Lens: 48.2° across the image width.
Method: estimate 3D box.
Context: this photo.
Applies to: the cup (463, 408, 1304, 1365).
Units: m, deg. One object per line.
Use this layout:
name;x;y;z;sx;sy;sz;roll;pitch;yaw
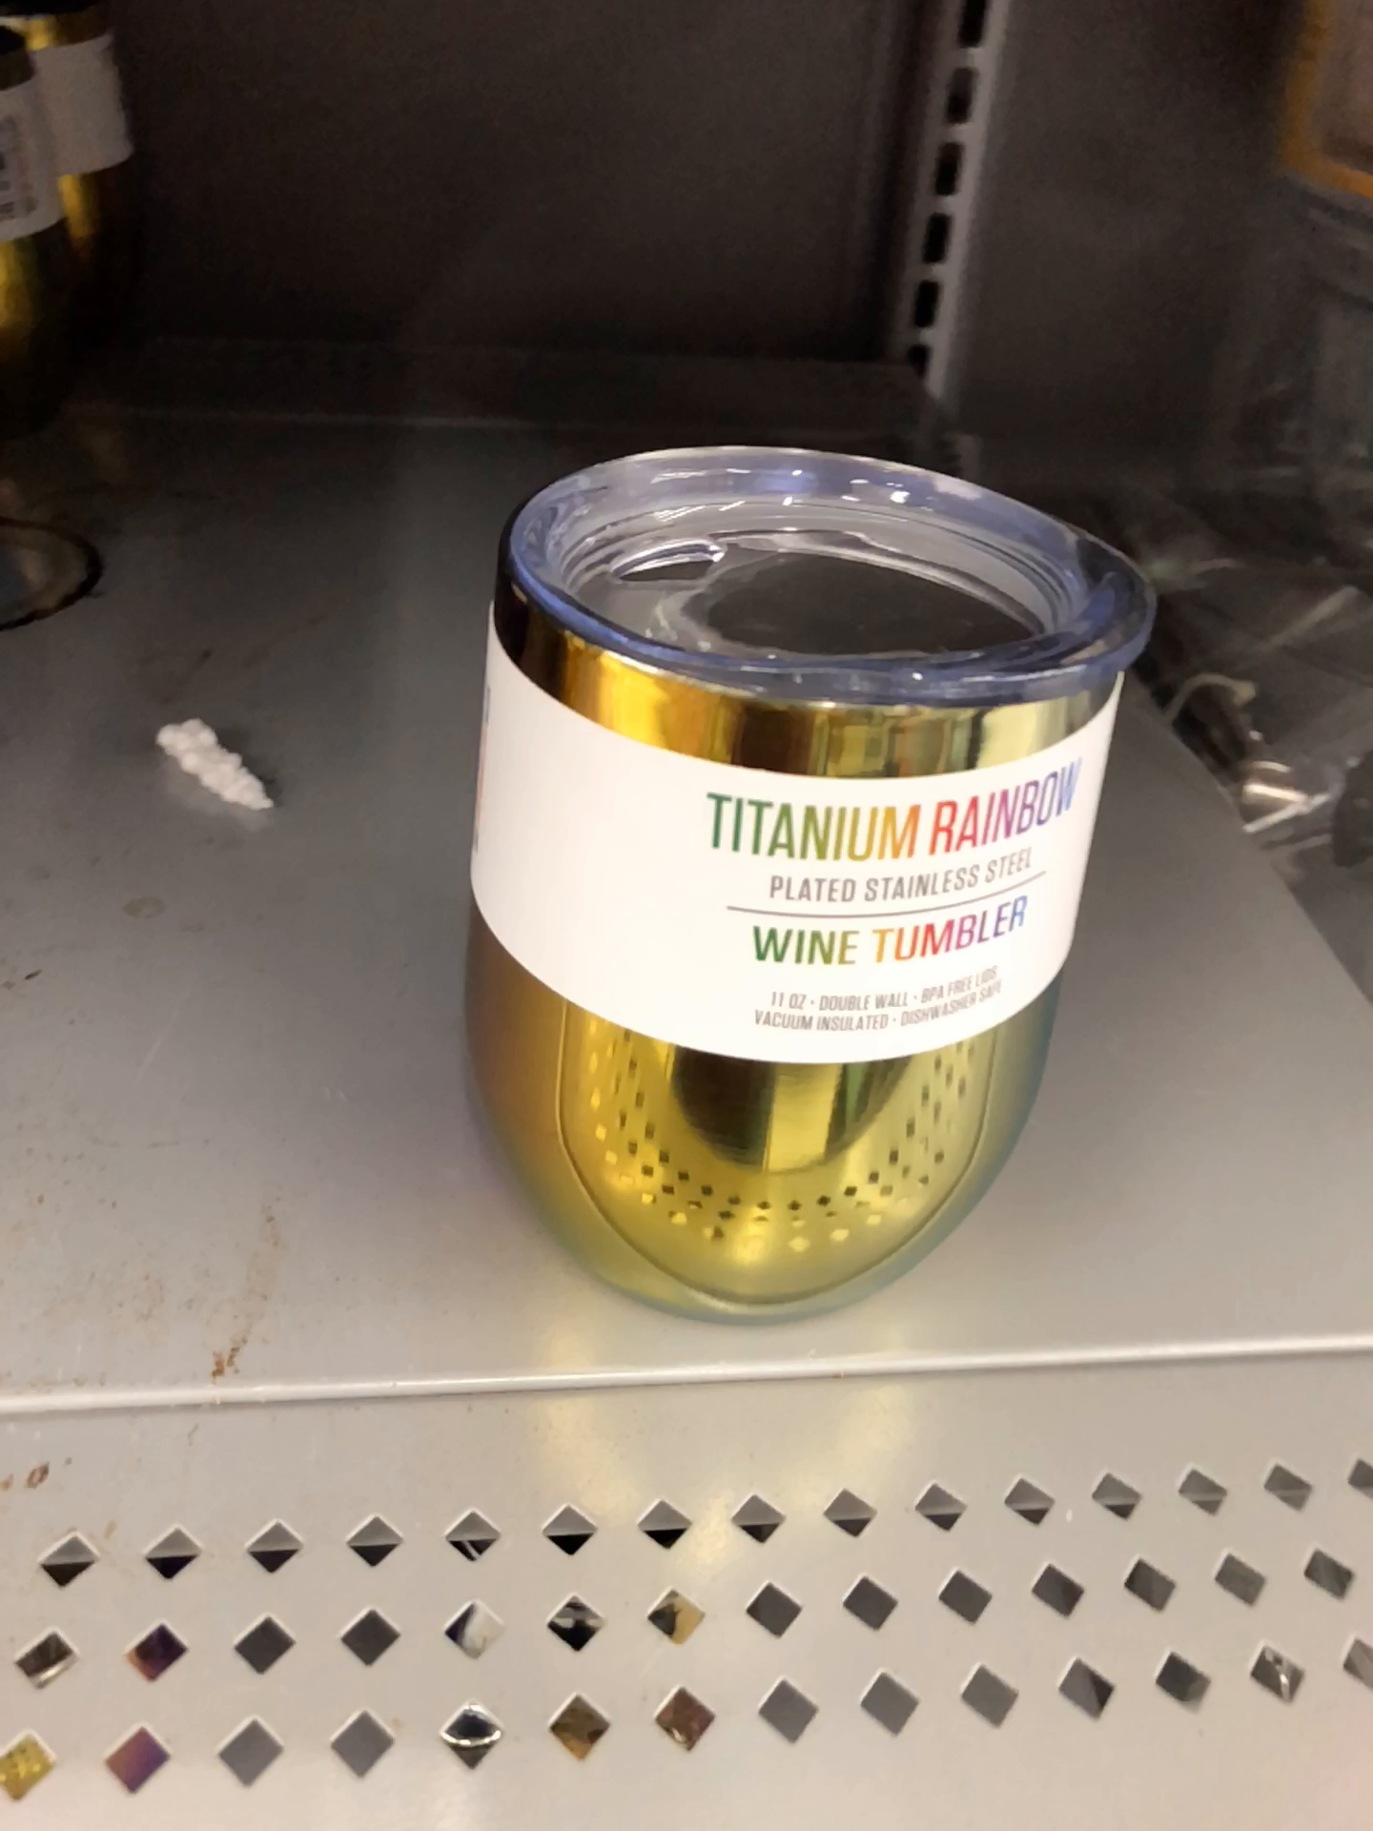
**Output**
cup;0.014;-0.004;0.220;0.086;0.108;0.077;-2;38;-10
